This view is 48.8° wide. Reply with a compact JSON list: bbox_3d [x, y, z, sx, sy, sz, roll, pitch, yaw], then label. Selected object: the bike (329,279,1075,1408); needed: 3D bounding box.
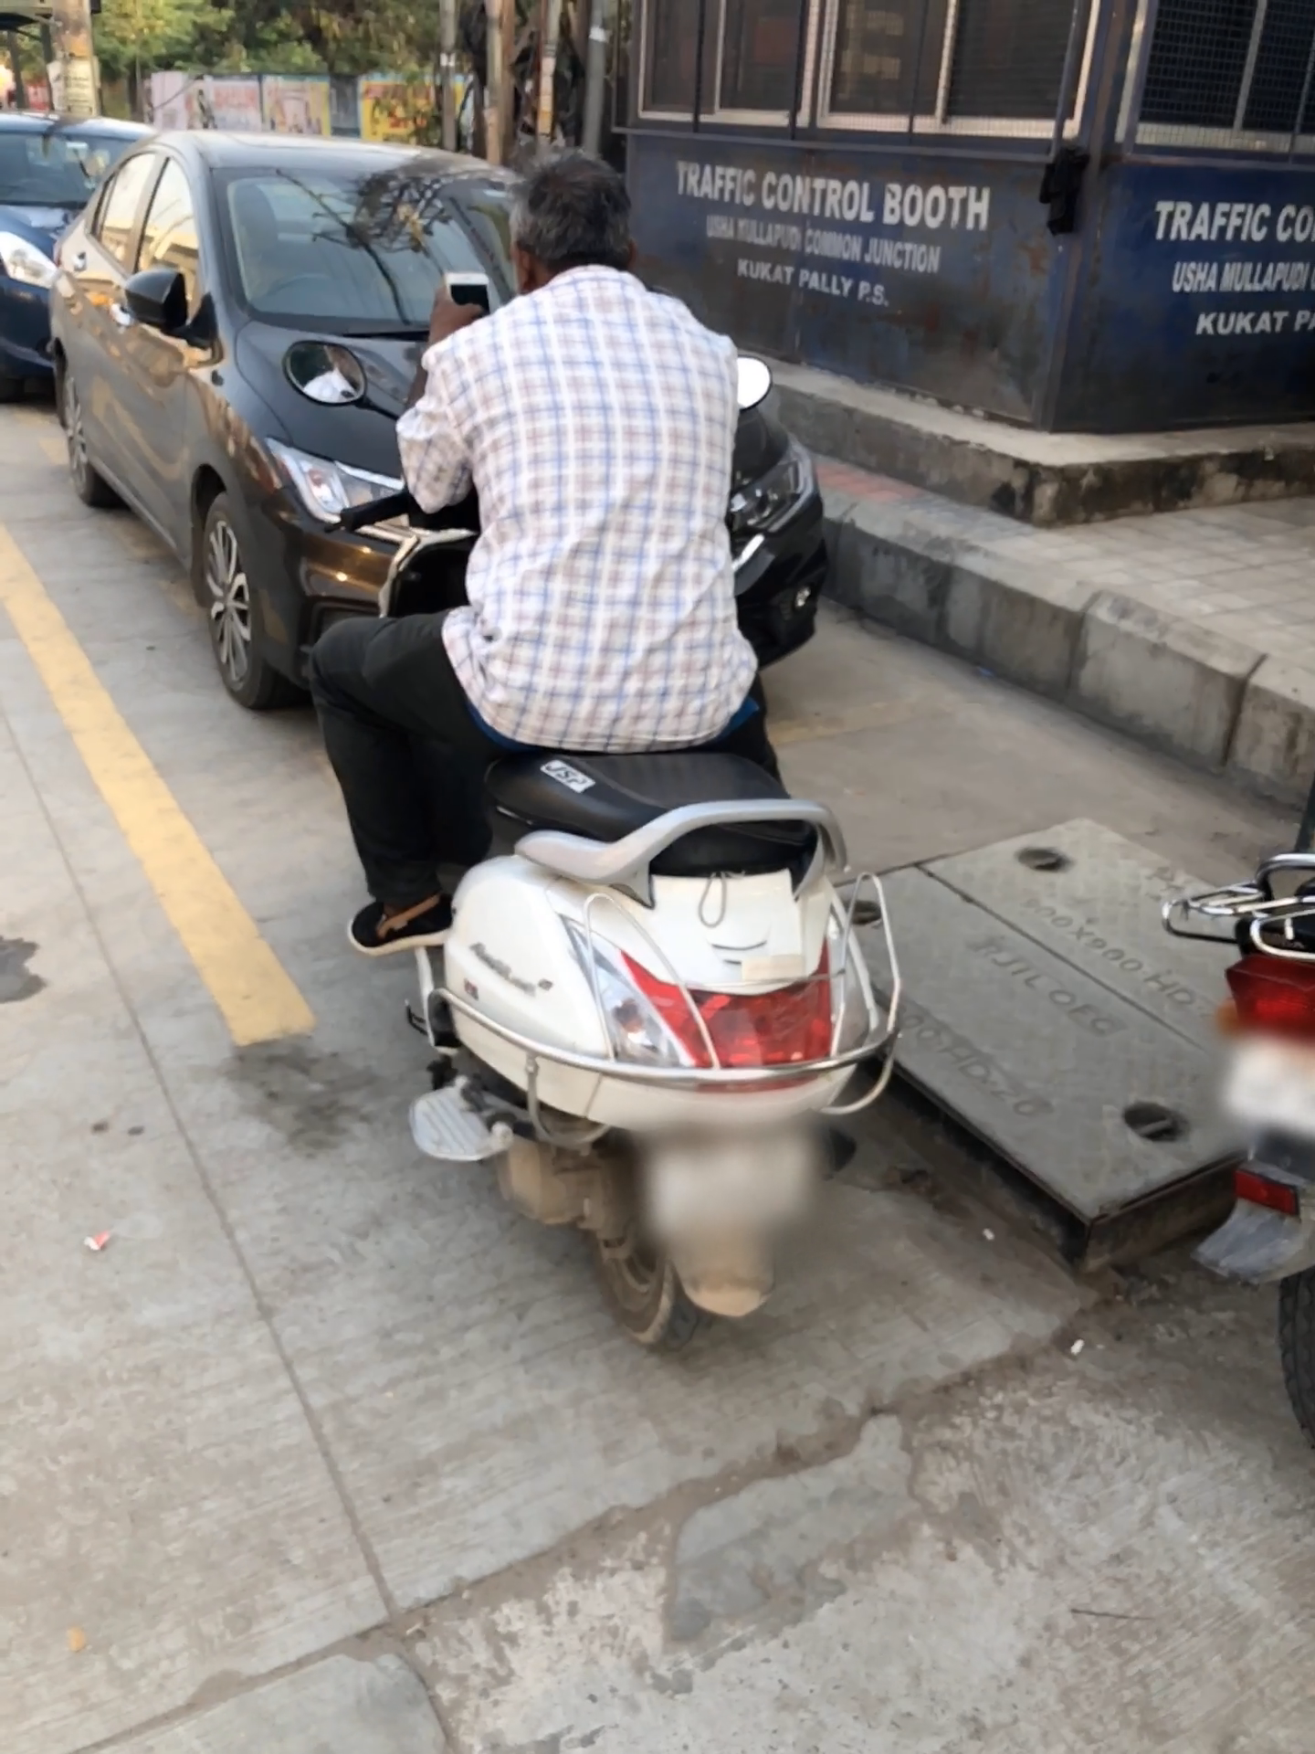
[{"bbox_3d":[-0.082,-0.247,2.319,0.641,0.858,1.608,-6,36,-17],"label":"bike"}]
